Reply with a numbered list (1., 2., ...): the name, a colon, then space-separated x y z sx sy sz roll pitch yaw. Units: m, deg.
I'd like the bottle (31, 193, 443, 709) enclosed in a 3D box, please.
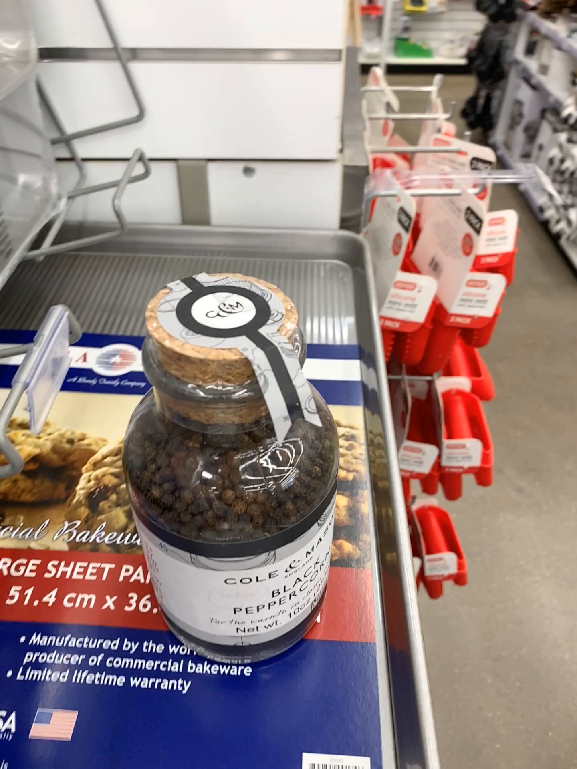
1. bottle: -0.019 0.029 0.233 0.090 0.159 0.090 0 42 0
